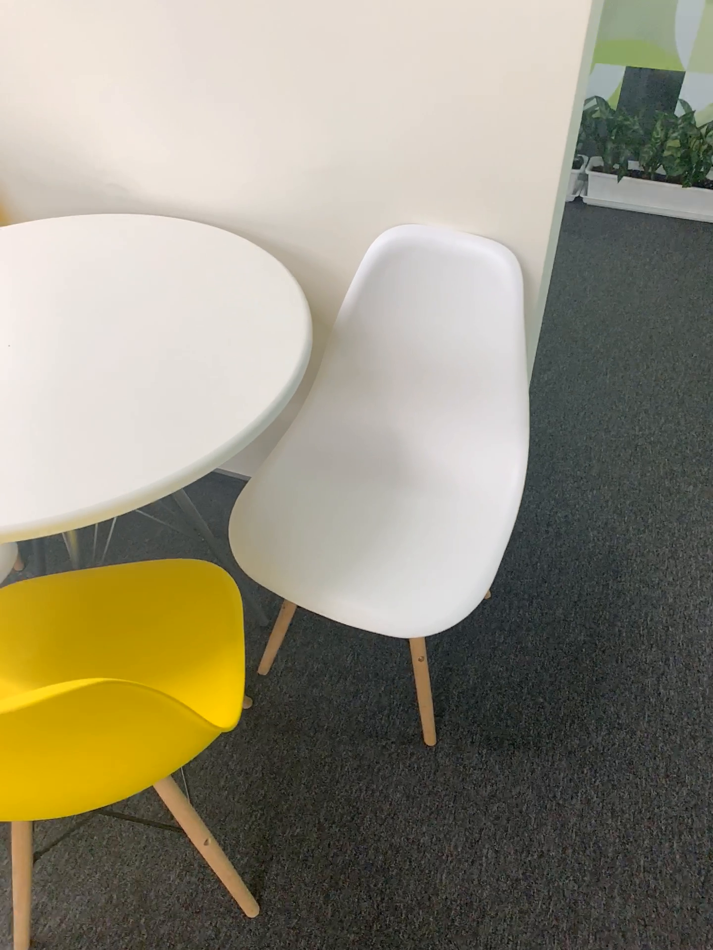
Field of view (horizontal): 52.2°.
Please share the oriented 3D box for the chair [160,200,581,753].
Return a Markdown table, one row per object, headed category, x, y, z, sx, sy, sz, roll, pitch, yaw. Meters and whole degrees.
| category | x | y | z | sx | sy | sz | roll | pitch | yaw |
| --- | --- | --- | --- | --- | --- | --- | --- | --- | --- |
| chair | 0.047 | 0.039 | 1.364 | 0.480 | 0.875 | 0.442 | 16 | 47 | 17 |
